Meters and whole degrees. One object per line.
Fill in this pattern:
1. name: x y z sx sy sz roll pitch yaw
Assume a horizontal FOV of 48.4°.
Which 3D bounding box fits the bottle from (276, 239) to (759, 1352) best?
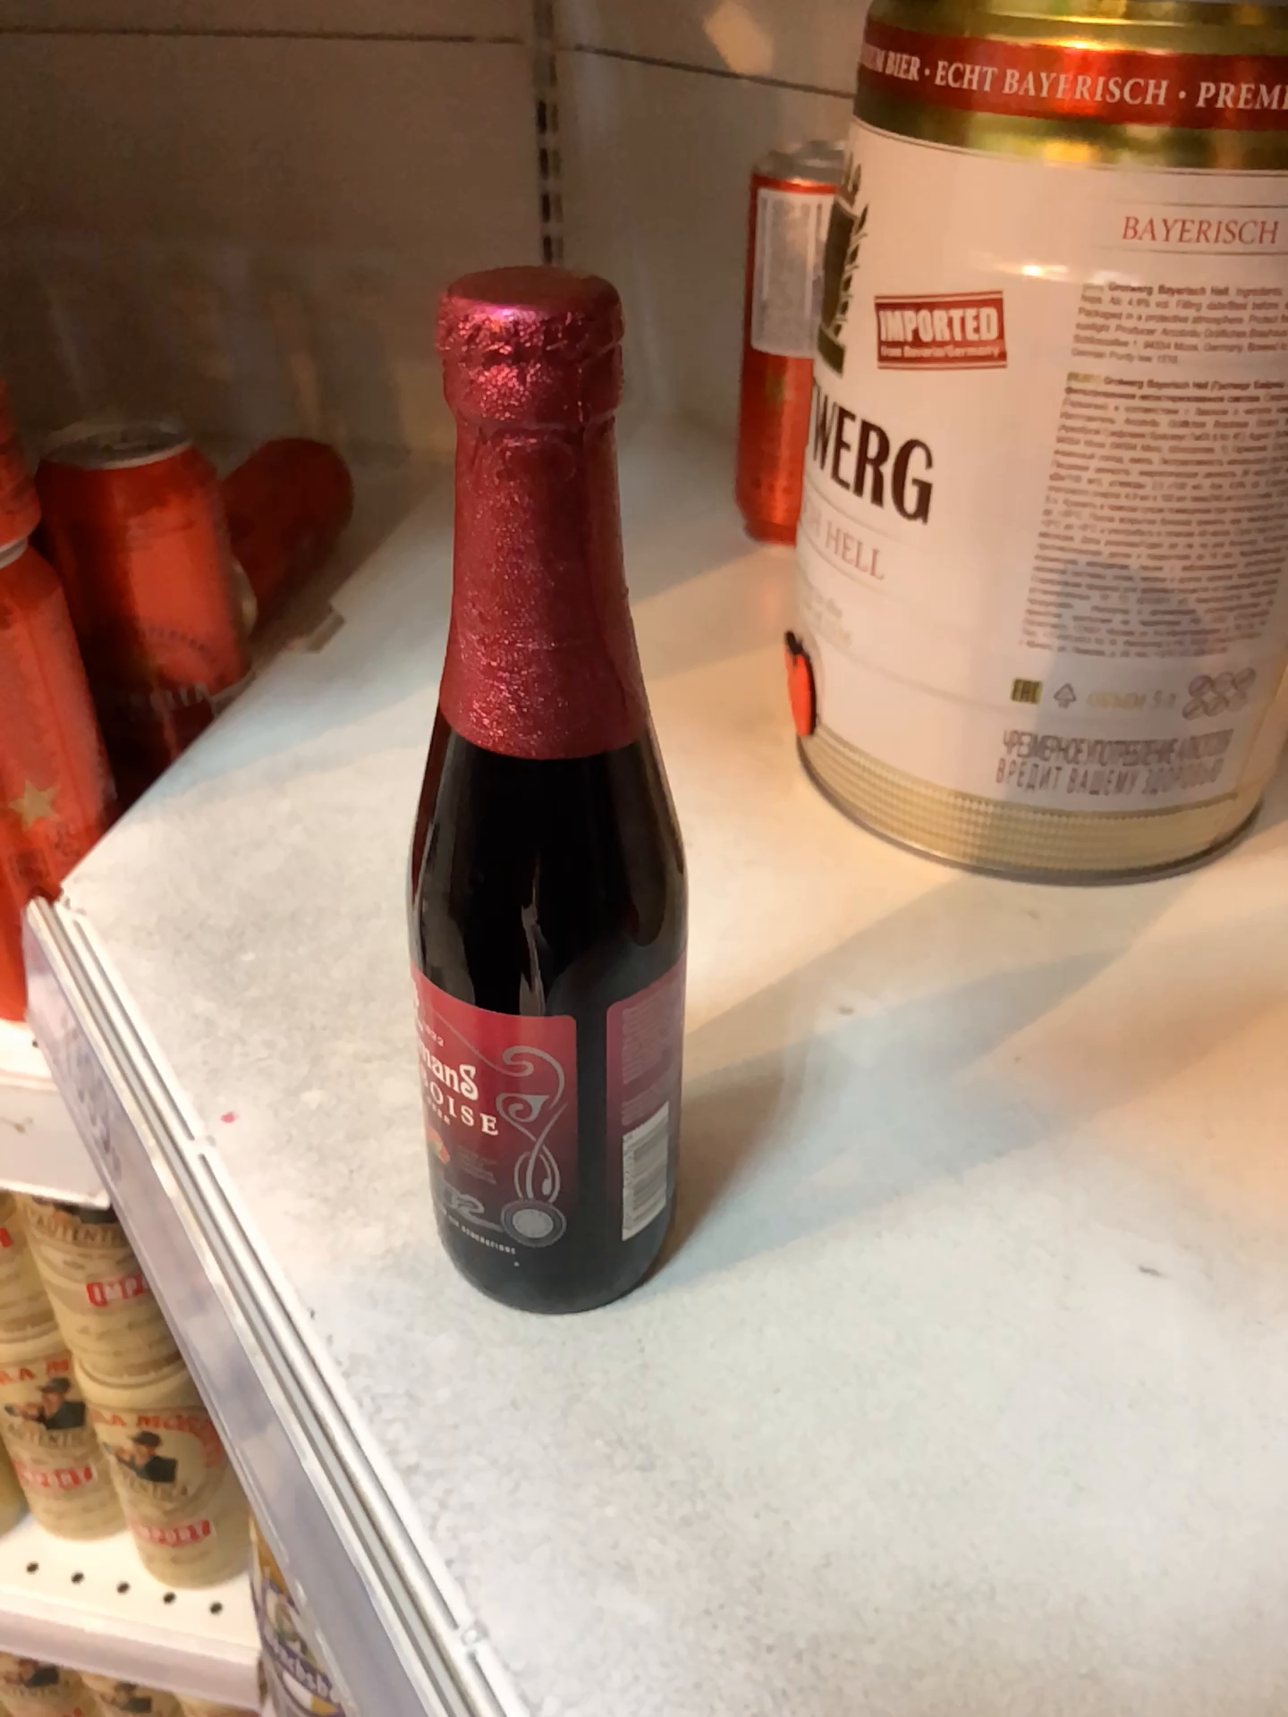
1. bottle: -0.021 -0.002 0.269 0.058 0.199 0.058 0 34 0
